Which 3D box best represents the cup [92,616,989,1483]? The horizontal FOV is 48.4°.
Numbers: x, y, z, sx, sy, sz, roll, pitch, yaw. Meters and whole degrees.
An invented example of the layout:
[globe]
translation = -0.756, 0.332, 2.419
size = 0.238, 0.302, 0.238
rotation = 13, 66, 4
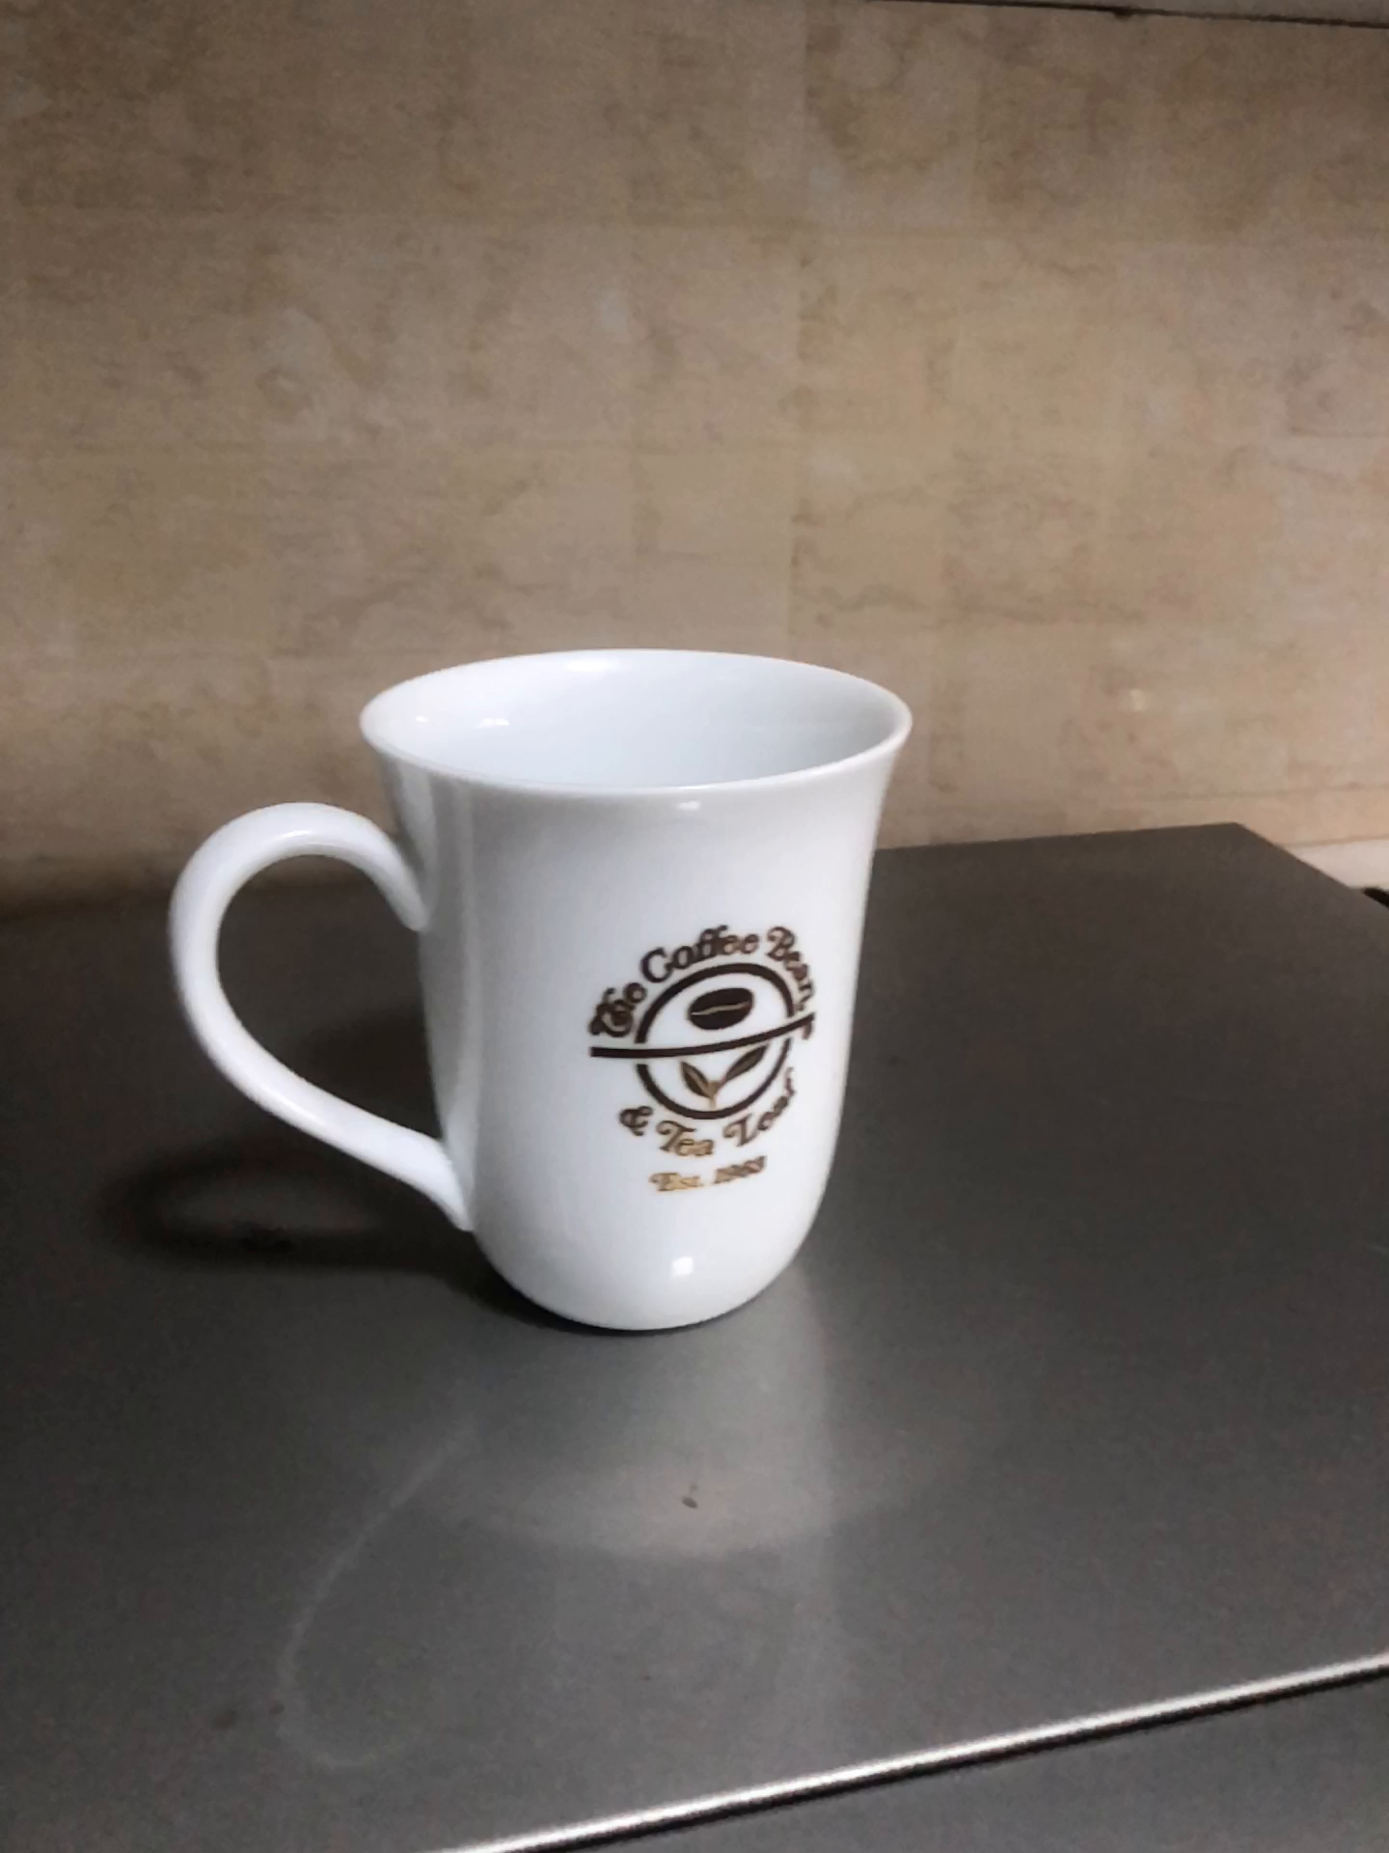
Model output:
[cup]
translation = -0.030, 0.010, 0.285
size = 0.130, 0.109, 0.090
rotation = -9, 24, -24
